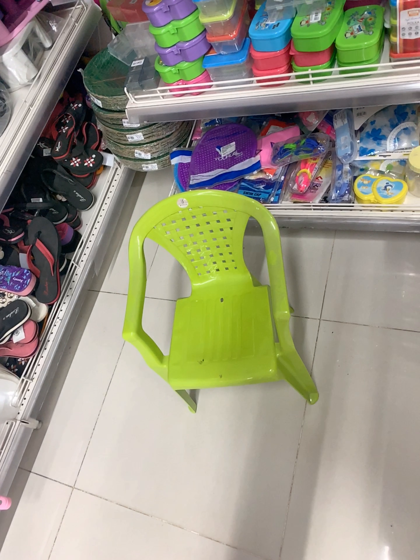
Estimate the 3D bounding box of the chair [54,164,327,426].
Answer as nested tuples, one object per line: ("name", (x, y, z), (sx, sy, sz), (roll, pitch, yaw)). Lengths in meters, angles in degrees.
("chair", (0.008, 0.085, 0.922), (0.391, 0.469, 0.360), (-8, 61, 18))
